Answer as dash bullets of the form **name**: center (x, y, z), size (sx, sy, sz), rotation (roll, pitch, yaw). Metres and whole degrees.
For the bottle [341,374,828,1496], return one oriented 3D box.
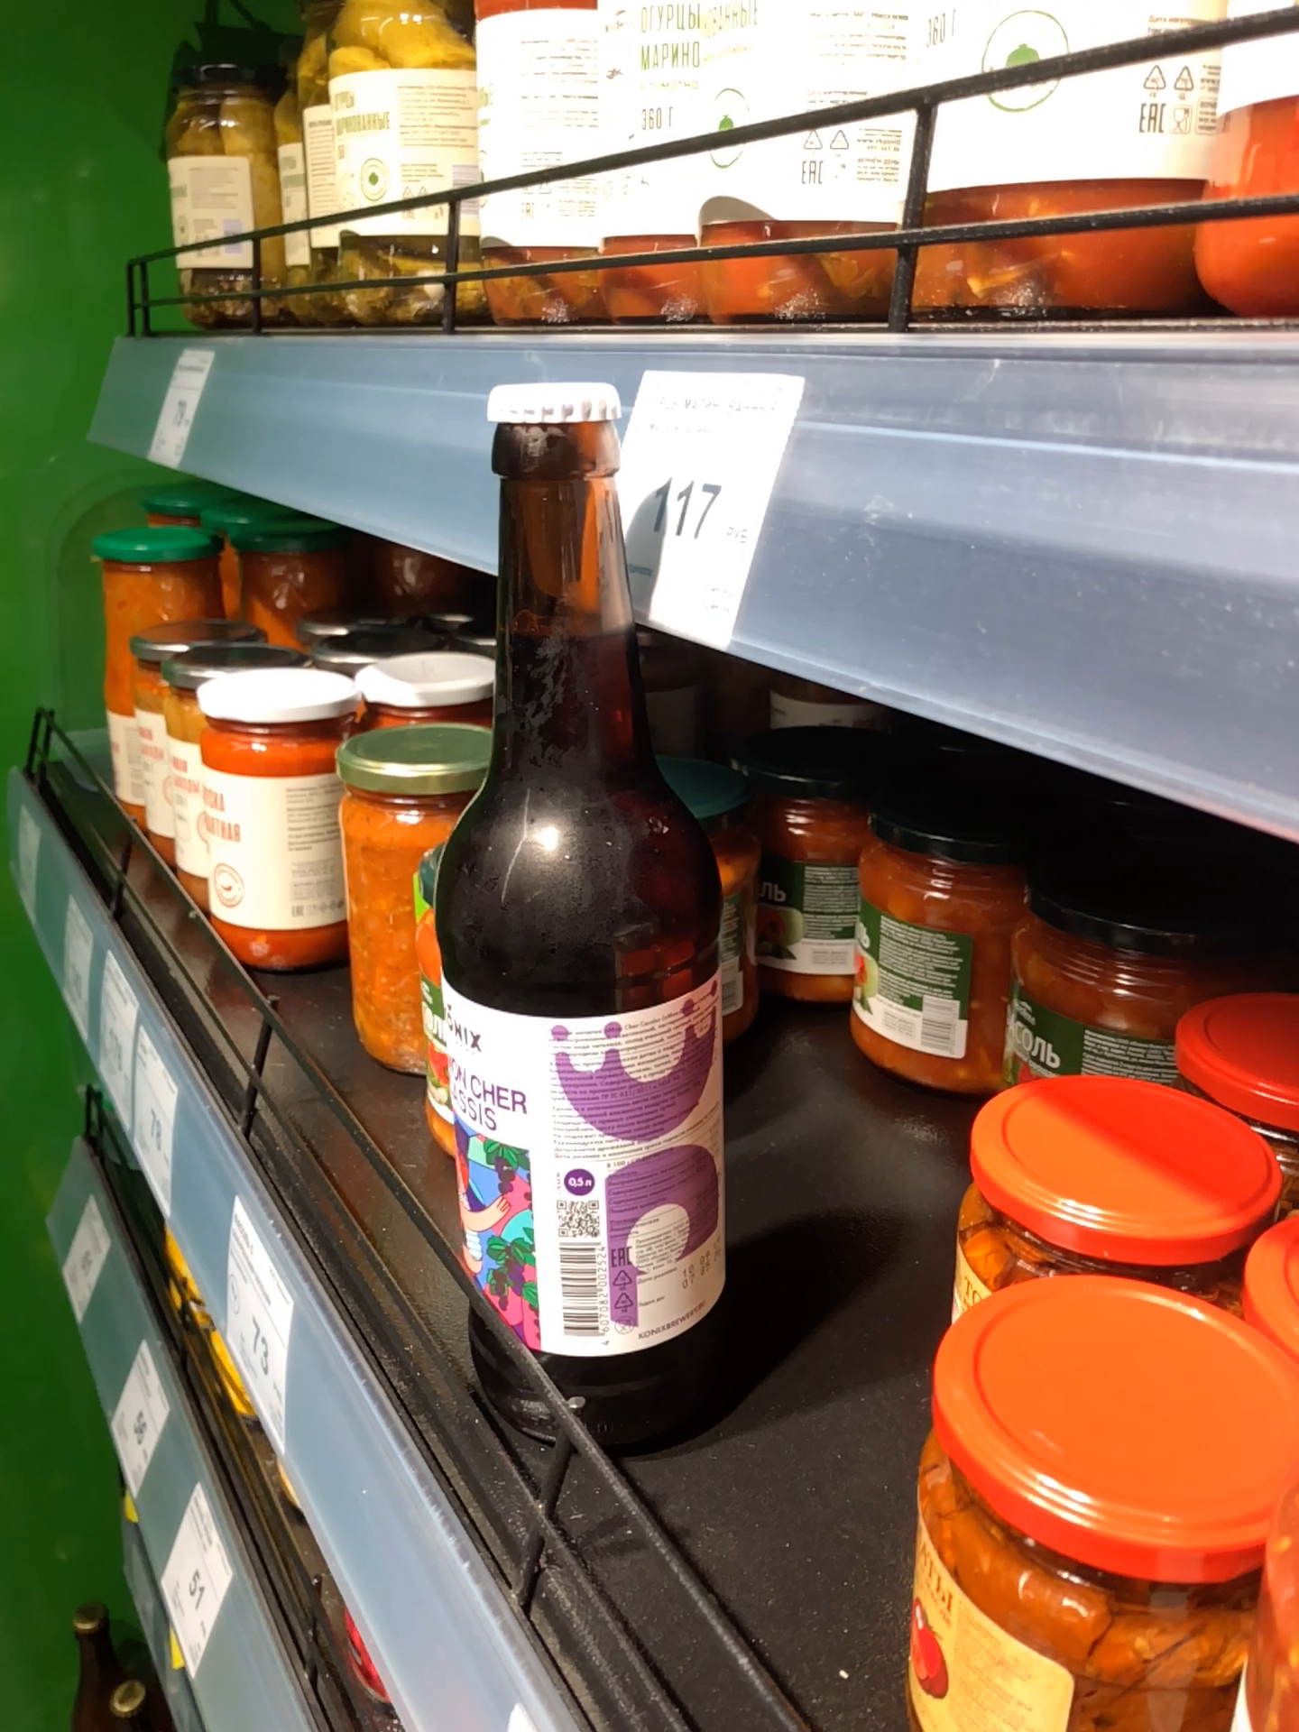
- **bottle**: center (-0.014, 0.013, 0.335), size (0.080, 0.239, 0.080), rotation (-1, 20, 0)
